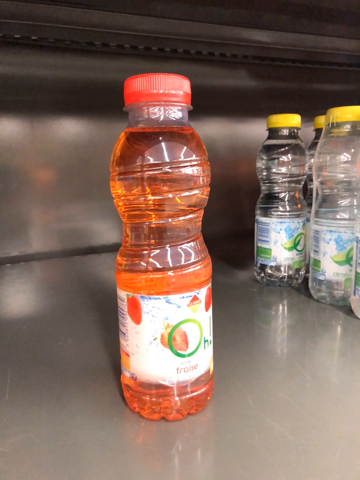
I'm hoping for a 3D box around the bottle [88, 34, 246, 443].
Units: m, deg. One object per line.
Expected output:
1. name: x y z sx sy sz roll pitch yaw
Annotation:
1. bottle: -0.007 0.000 0.243 0.070 0.209 0.060 -6 11 -25
